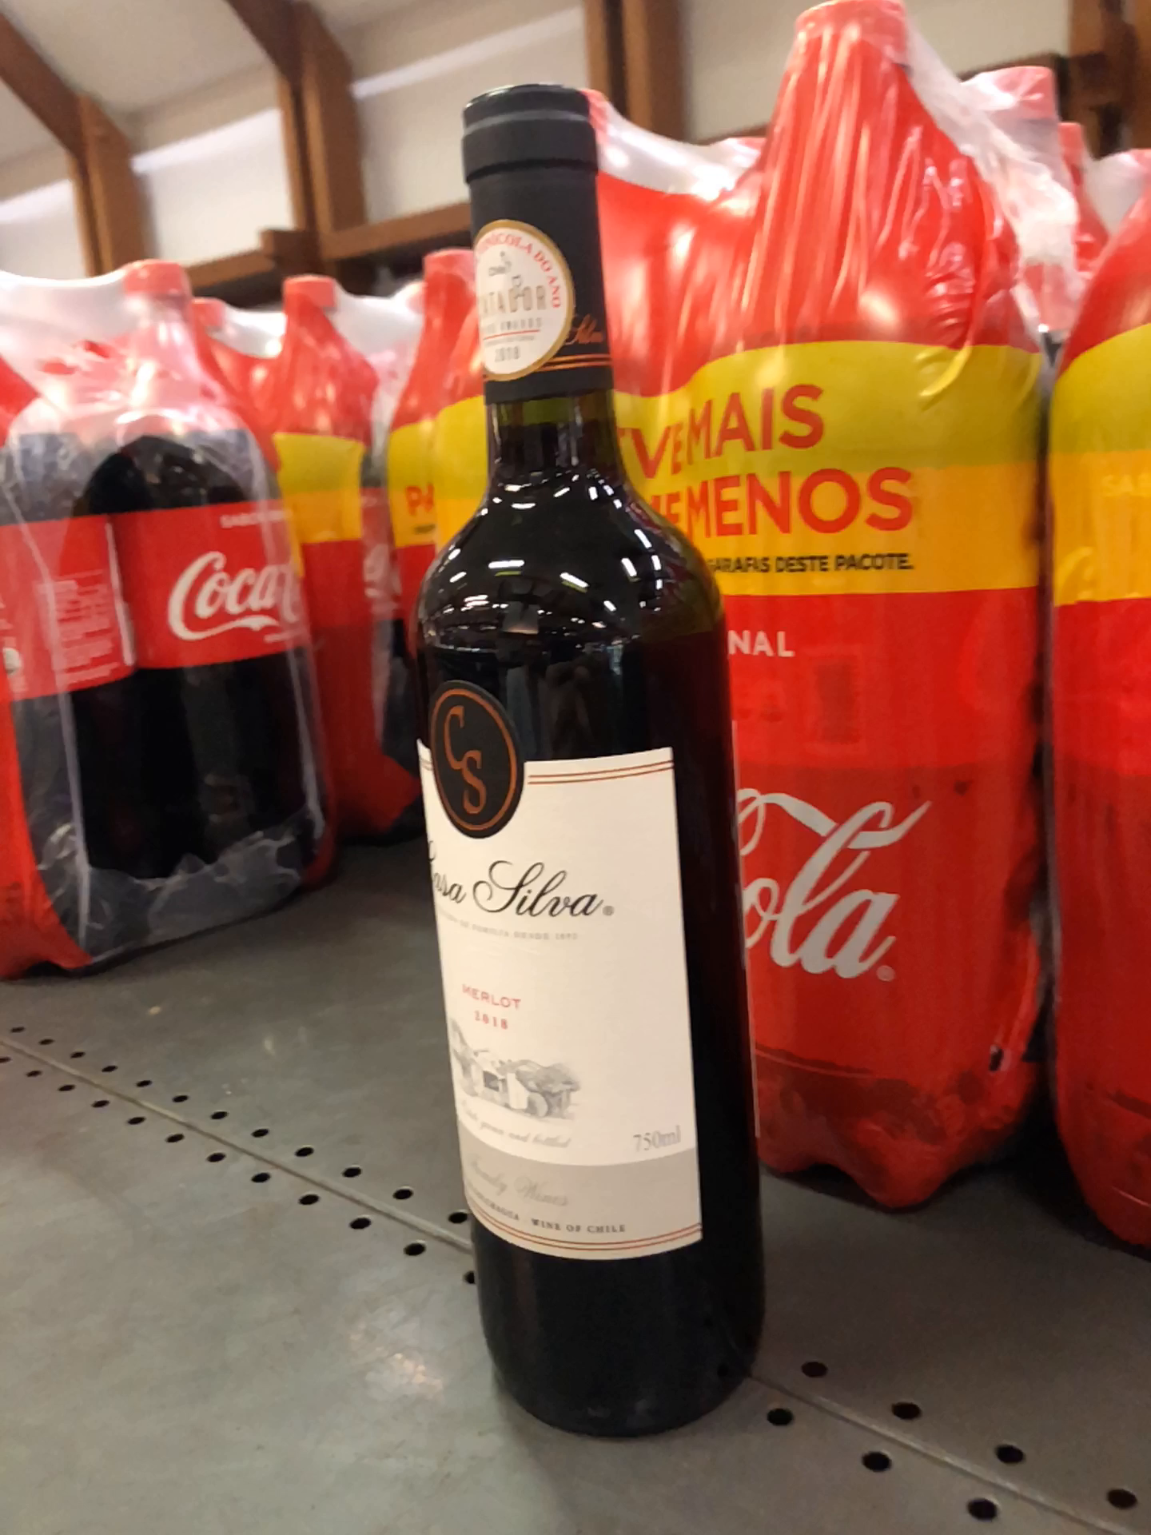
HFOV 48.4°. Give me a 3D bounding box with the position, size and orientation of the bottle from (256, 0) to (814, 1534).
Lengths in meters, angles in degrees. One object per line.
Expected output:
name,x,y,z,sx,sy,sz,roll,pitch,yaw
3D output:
bottle,-0.002,0.008,0.299,0.080,0.309,0.070,6,16,39
